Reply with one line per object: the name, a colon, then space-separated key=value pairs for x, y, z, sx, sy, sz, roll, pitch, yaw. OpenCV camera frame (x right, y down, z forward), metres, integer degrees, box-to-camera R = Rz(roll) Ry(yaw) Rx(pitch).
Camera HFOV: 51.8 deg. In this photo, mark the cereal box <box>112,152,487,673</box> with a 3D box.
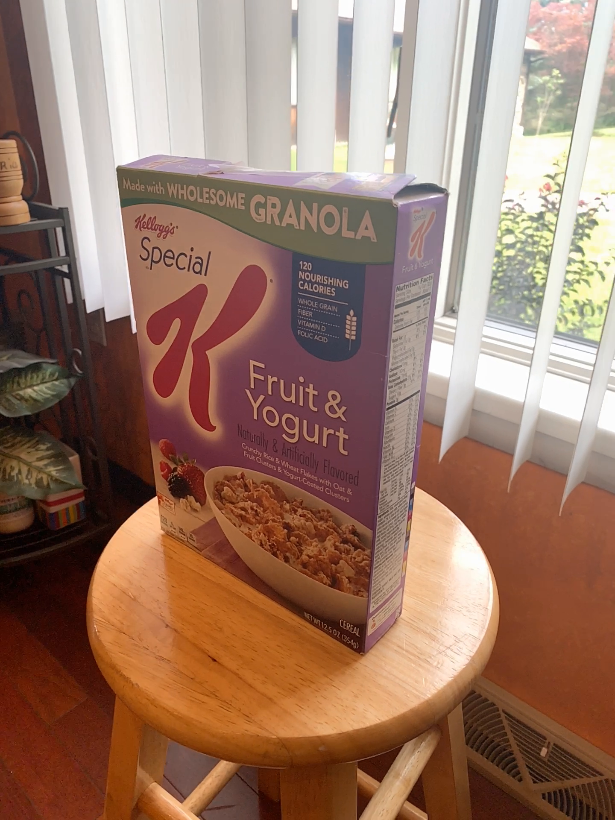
cereal box: x=-0.017 y=-0.007 z=0.409 sx=0.211 sy=0.278 sz=0.070 roll=21 pitch=33 yaw=34
